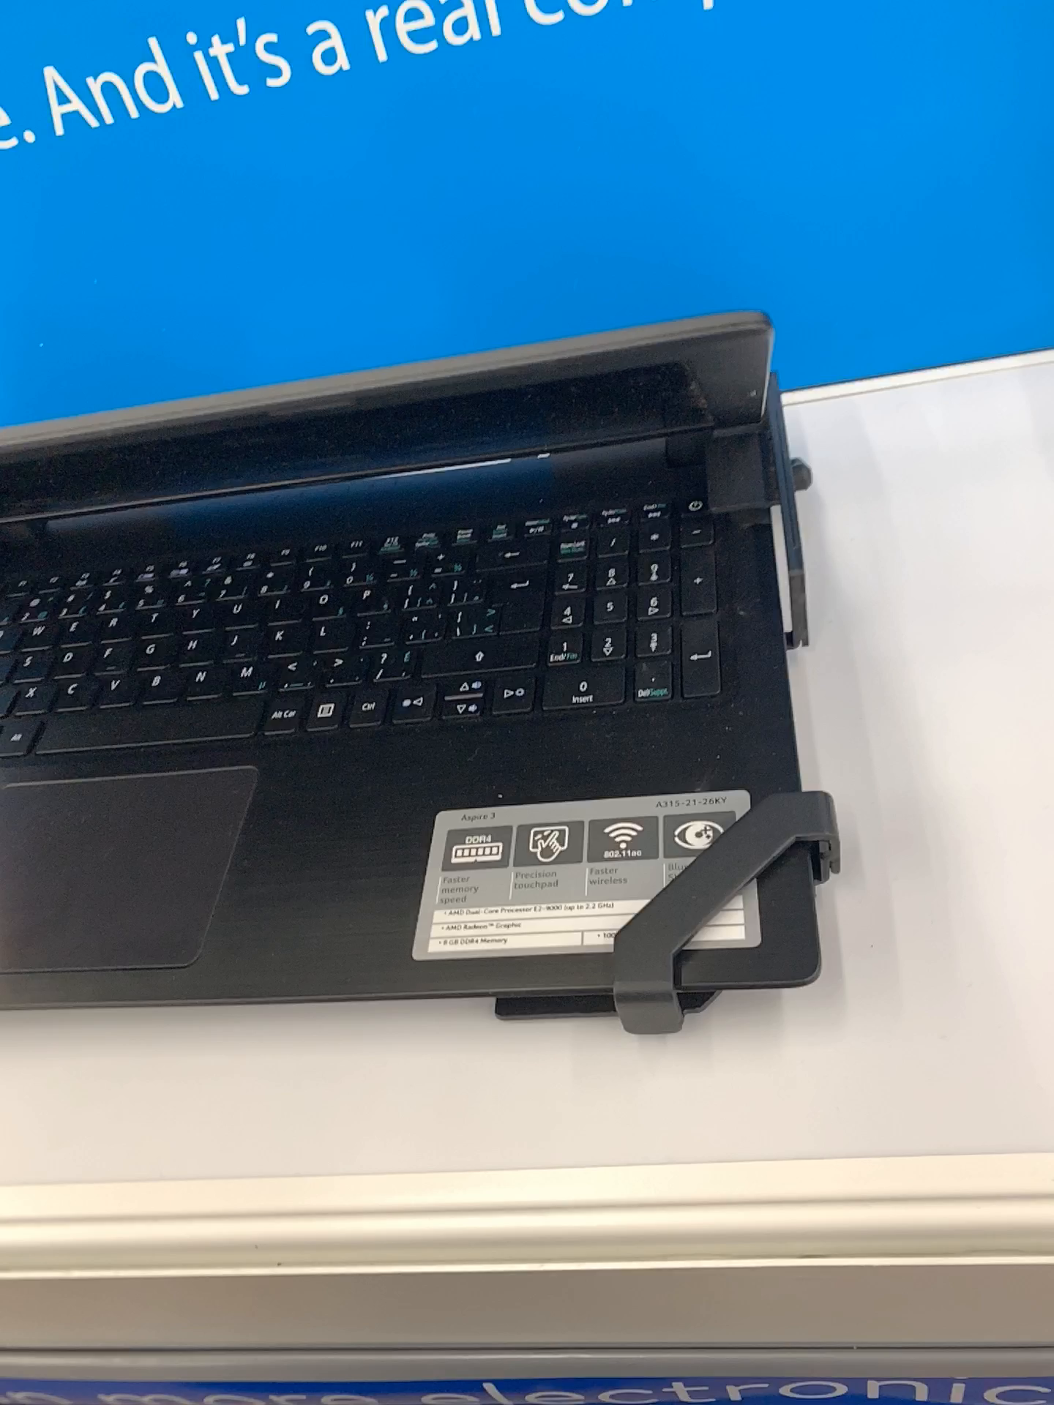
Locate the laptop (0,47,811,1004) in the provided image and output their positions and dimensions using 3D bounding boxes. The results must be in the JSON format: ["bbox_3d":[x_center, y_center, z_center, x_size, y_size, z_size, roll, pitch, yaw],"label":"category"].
[{"bbox_3d":[-0.110,-0.048,0.342,0.364,0.137,0.222,-5,50,12],"label":"laptop"}]
